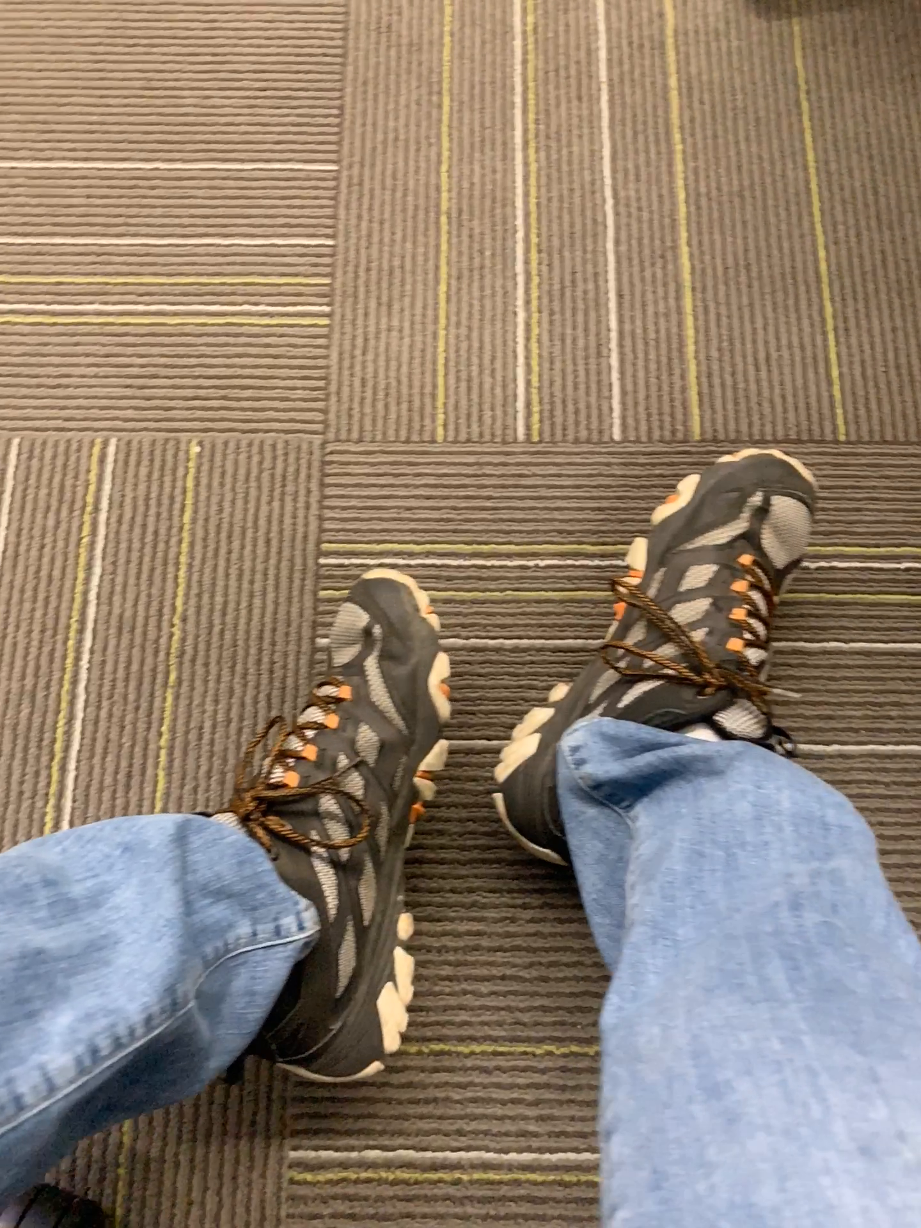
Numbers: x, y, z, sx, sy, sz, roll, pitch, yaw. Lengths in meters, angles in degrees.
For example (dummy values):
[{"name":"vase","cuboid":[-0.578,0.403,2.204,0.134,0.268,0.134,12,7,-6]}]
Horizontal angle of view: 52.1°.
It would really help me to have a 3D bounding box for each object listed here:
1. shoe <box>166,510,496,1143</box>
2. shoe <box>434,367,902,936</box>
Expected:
[{"name":"shoe","cuboid":[-0.077,0.117,0.578,0.127,0.119,0.325,11,79,-37]},{"name":"shoe","cuboid":[0.139,0.019,0.604,0.119,0.119,0.325,24,80,43]}]
